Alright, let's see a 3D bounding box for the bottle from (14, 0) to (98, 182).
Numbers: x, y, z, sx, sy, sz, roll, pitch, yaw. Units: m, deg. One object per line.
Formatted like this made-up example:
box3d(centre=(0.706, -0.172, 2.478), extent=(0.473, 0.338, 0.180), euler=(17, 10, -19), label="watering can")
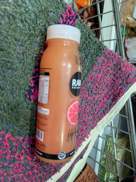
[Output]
box3d(centre=(-0.012, -0.003, 0.155), extent=(0.060, 0.060, 0.160), euler=(0, 94, -53), label="bottle")
